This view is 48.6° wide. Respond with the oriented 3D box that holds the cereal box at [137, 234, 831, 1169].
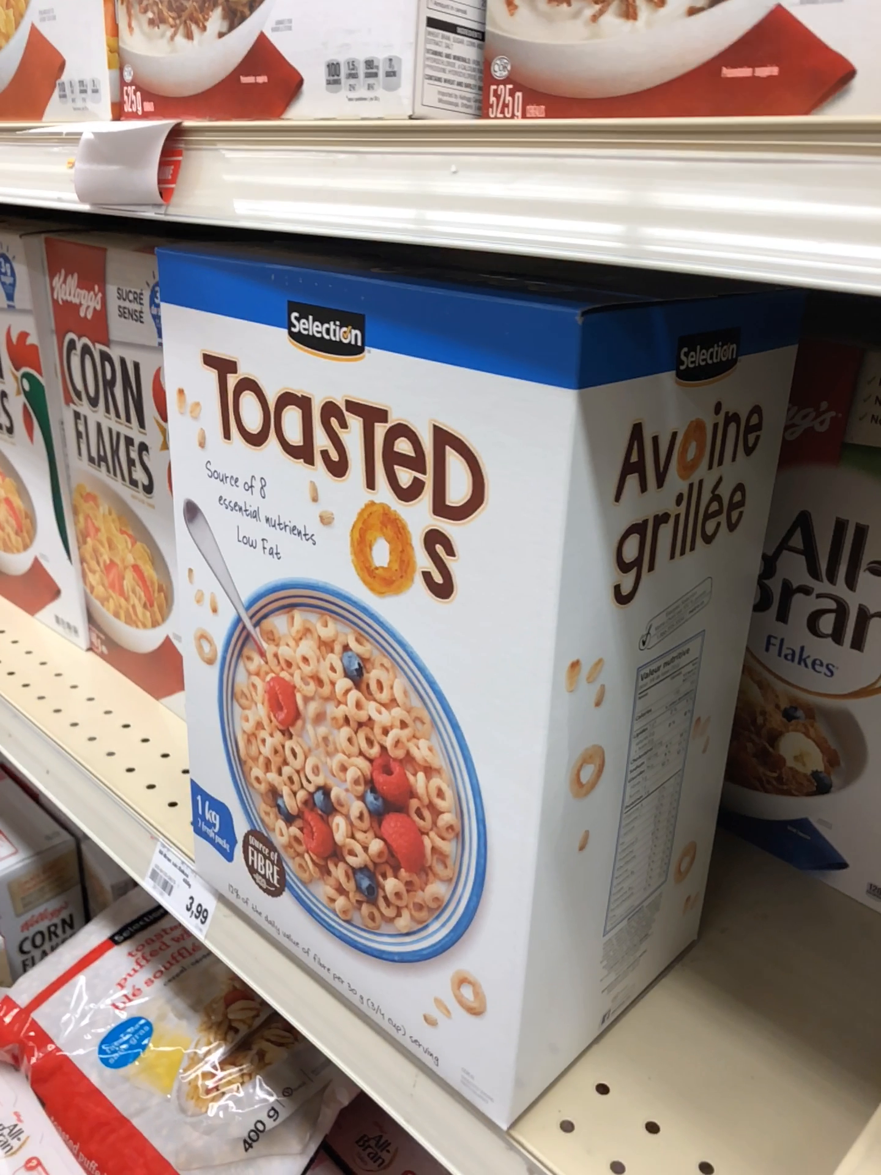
[{"bbox_3d":[0.001,0.021,0.461,0.241,0.338,0.160,21,27,39],"label":"cereal box"}]
